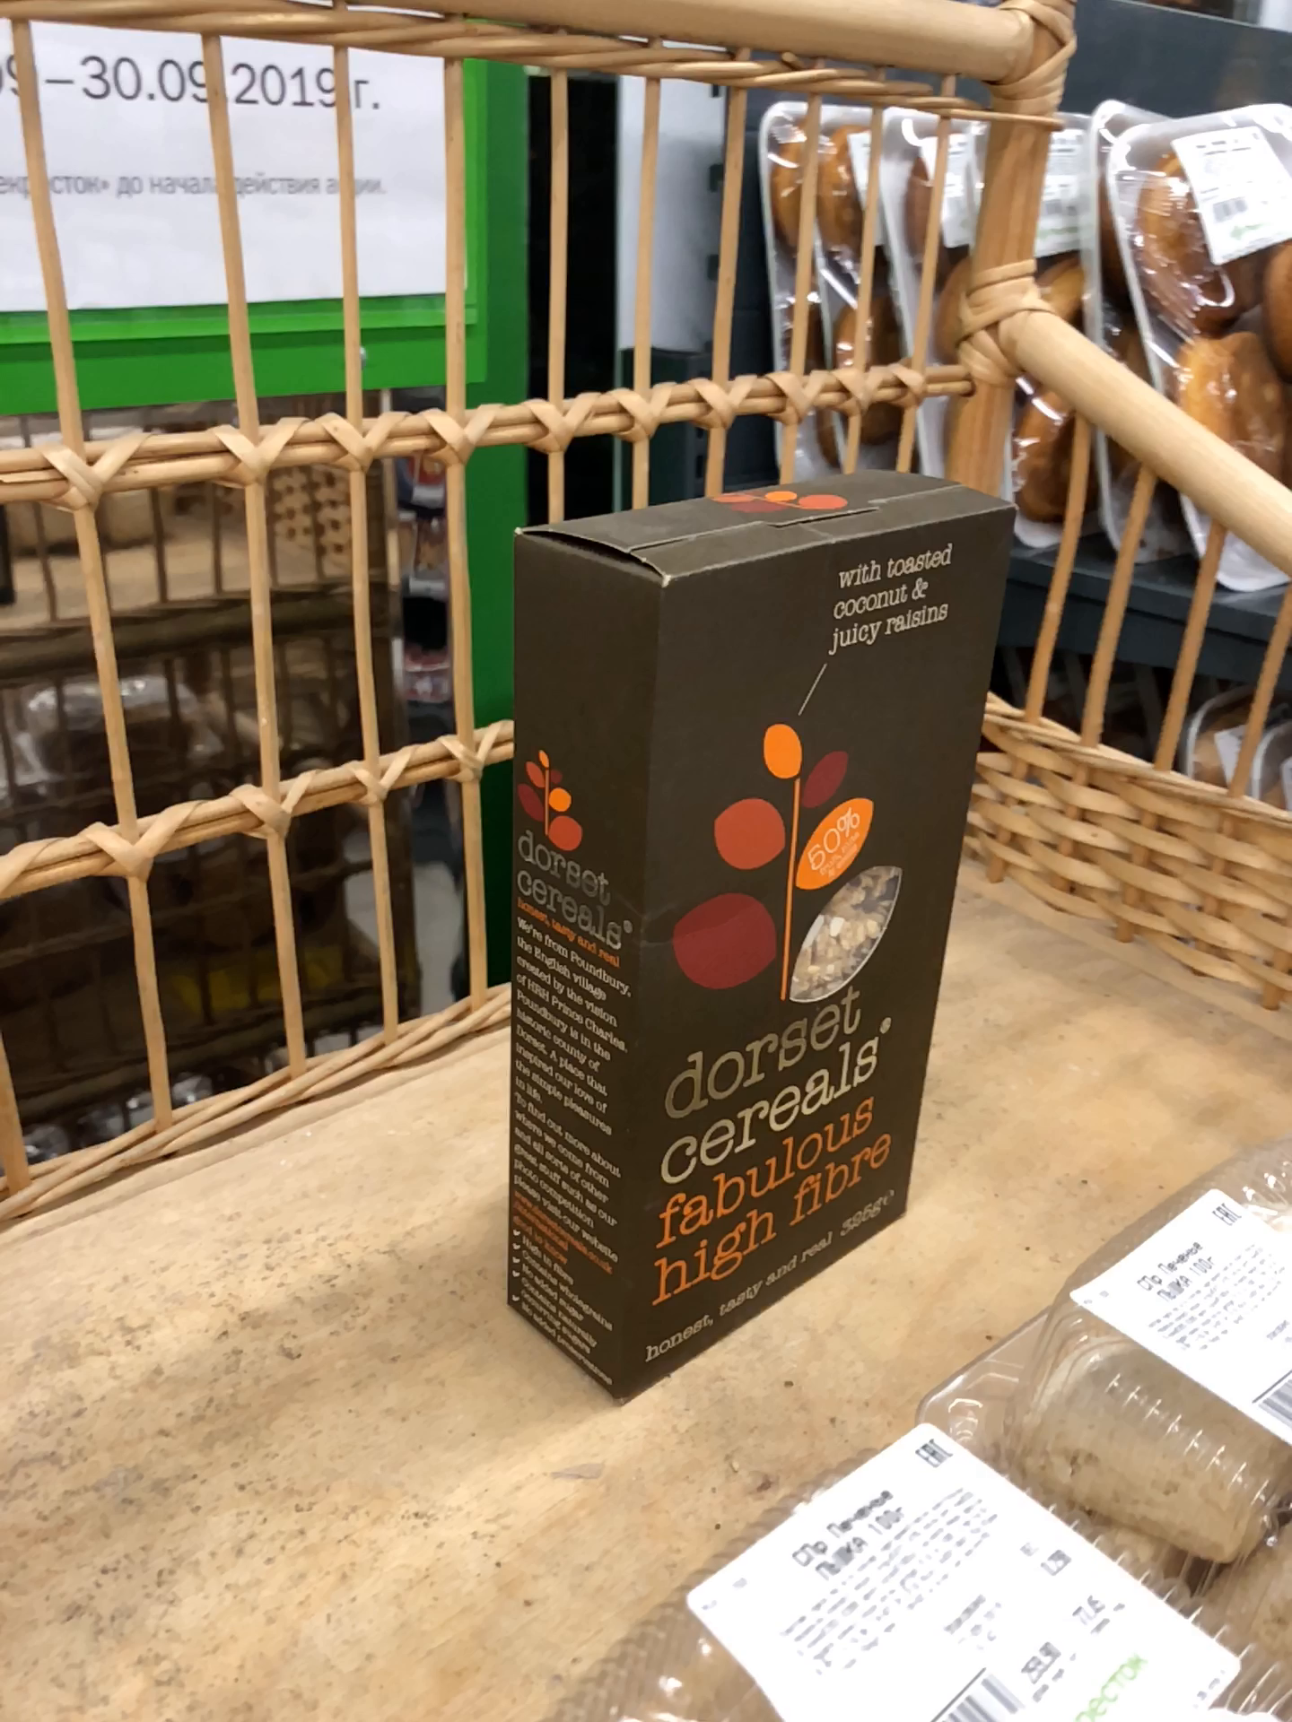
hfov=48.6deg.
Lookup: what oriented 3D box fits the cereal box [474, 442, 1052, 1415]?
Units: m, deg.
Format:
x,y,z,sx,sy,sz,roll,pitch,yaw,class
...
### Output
x,y,z,sx,sy,sz,roll,pitch,yaw,class
0.027,0.013,0.356,0.130,0.209,0.050,-20,33,-38,cereal box
